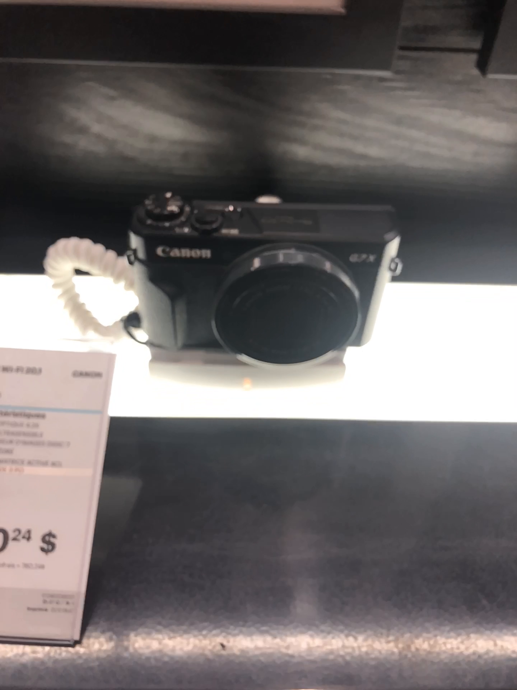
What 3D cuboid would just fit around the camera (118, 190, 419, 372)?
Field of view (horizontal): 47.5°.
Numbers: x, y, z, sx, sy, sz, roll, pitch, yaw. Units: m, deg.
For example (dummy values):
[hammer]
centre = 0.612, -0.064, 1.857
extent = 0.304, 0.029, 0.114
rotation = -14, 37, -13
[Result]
[camera]
centre = 0.003, -0.024, 0.228
extent = 0.100, 0.056, 0.038
rotation = 2, 43, -1
